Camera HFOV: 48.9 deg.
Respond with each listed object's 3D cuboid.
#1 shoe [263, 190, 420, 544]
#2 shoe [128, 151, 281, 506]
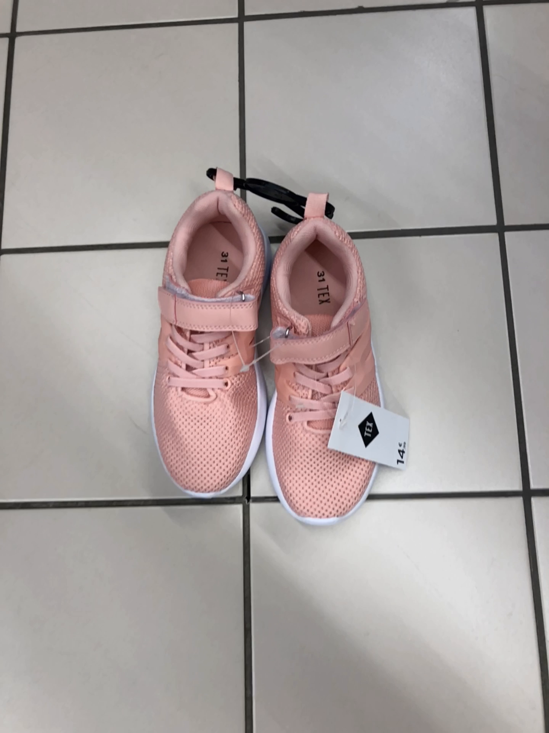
[{"bbox_3d":[0.038,0.004,0.389,0.083,0.094,0.203,-1,79,3],"label":"shoe"},{"bbox_3d":[-0.042,-0.019,0.398,0.080,0.092,0.210,-3,79,3],"label":"shoe"}]
